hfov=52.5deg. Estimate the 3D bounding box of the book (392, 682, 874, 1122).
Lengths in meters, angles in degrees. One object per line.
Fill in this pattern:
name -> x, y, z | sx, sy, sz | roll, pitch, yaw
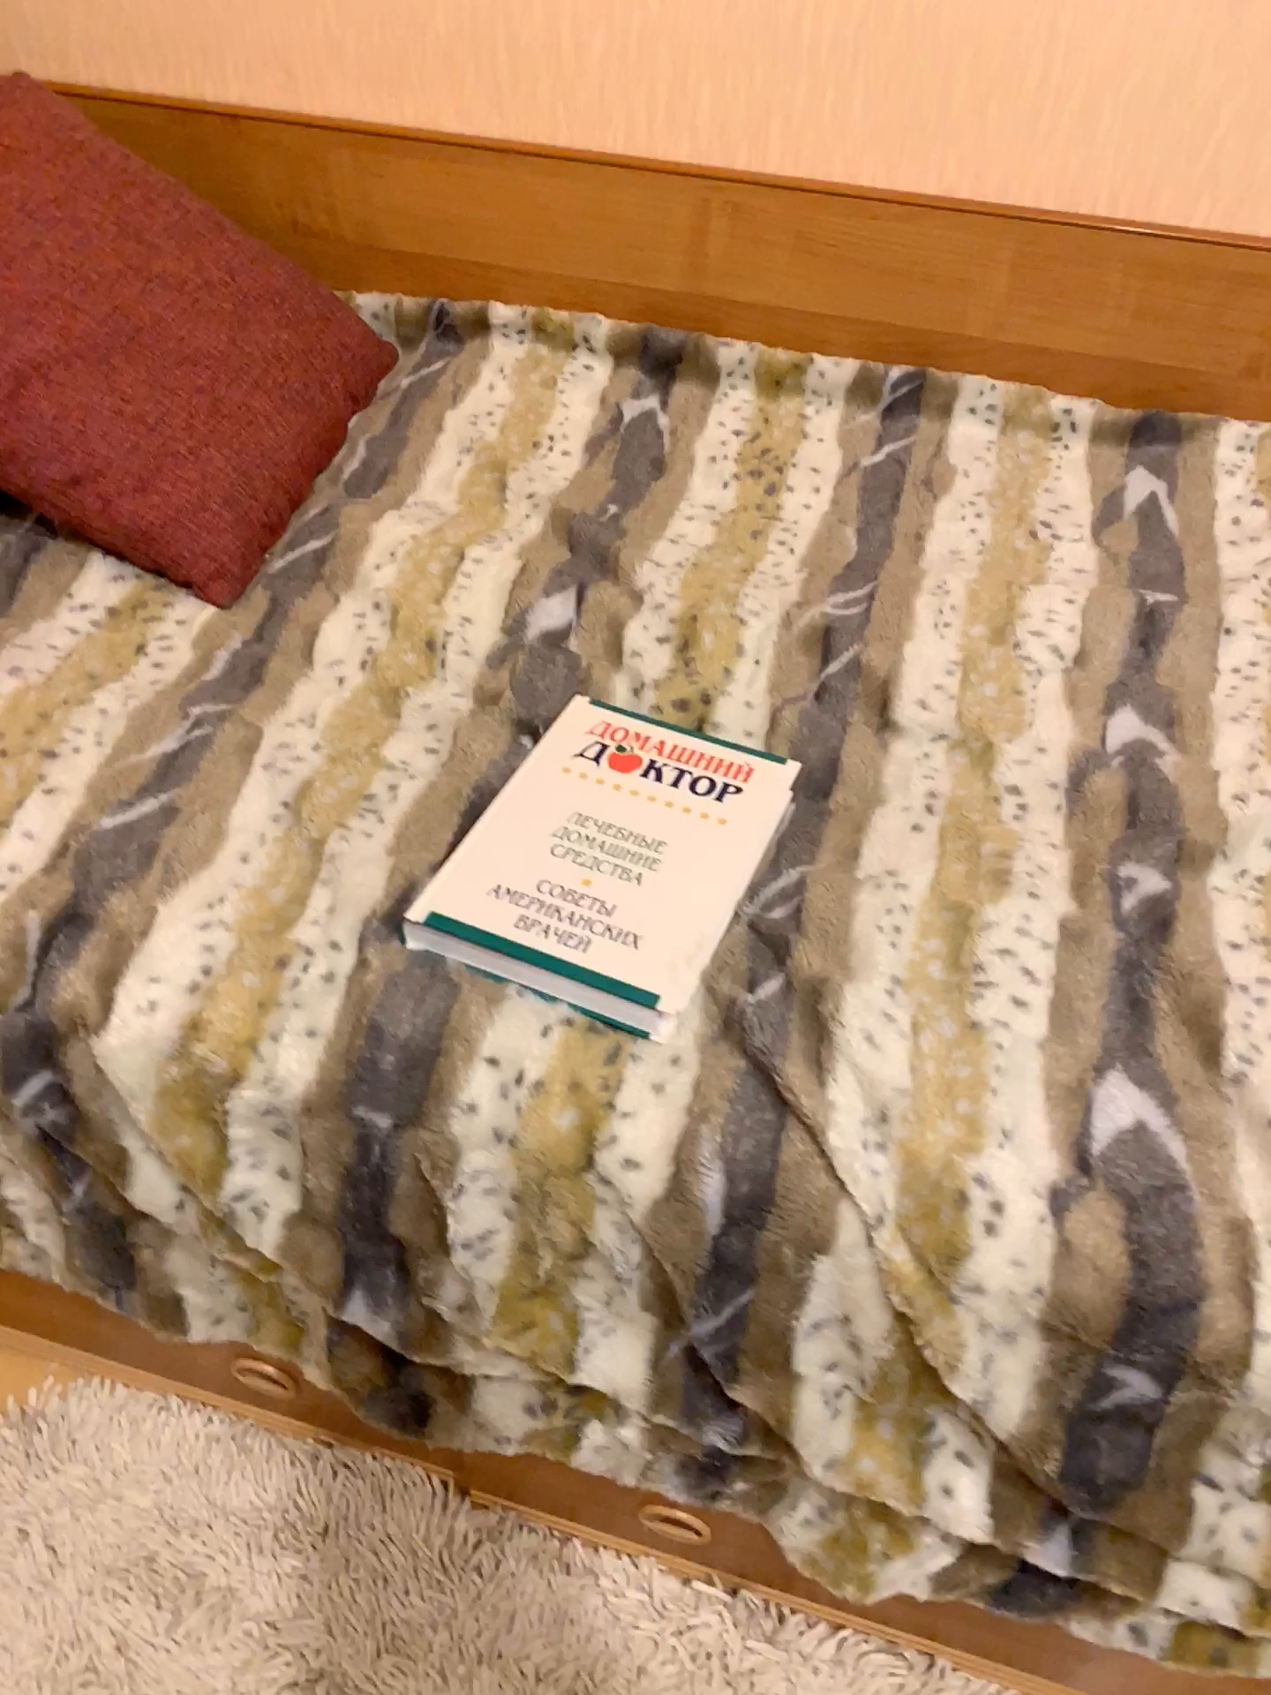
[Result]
book -> 0.008, 0.016, 0.736 | 0.190, 0.040, 0.242 | 18, 48, 15
